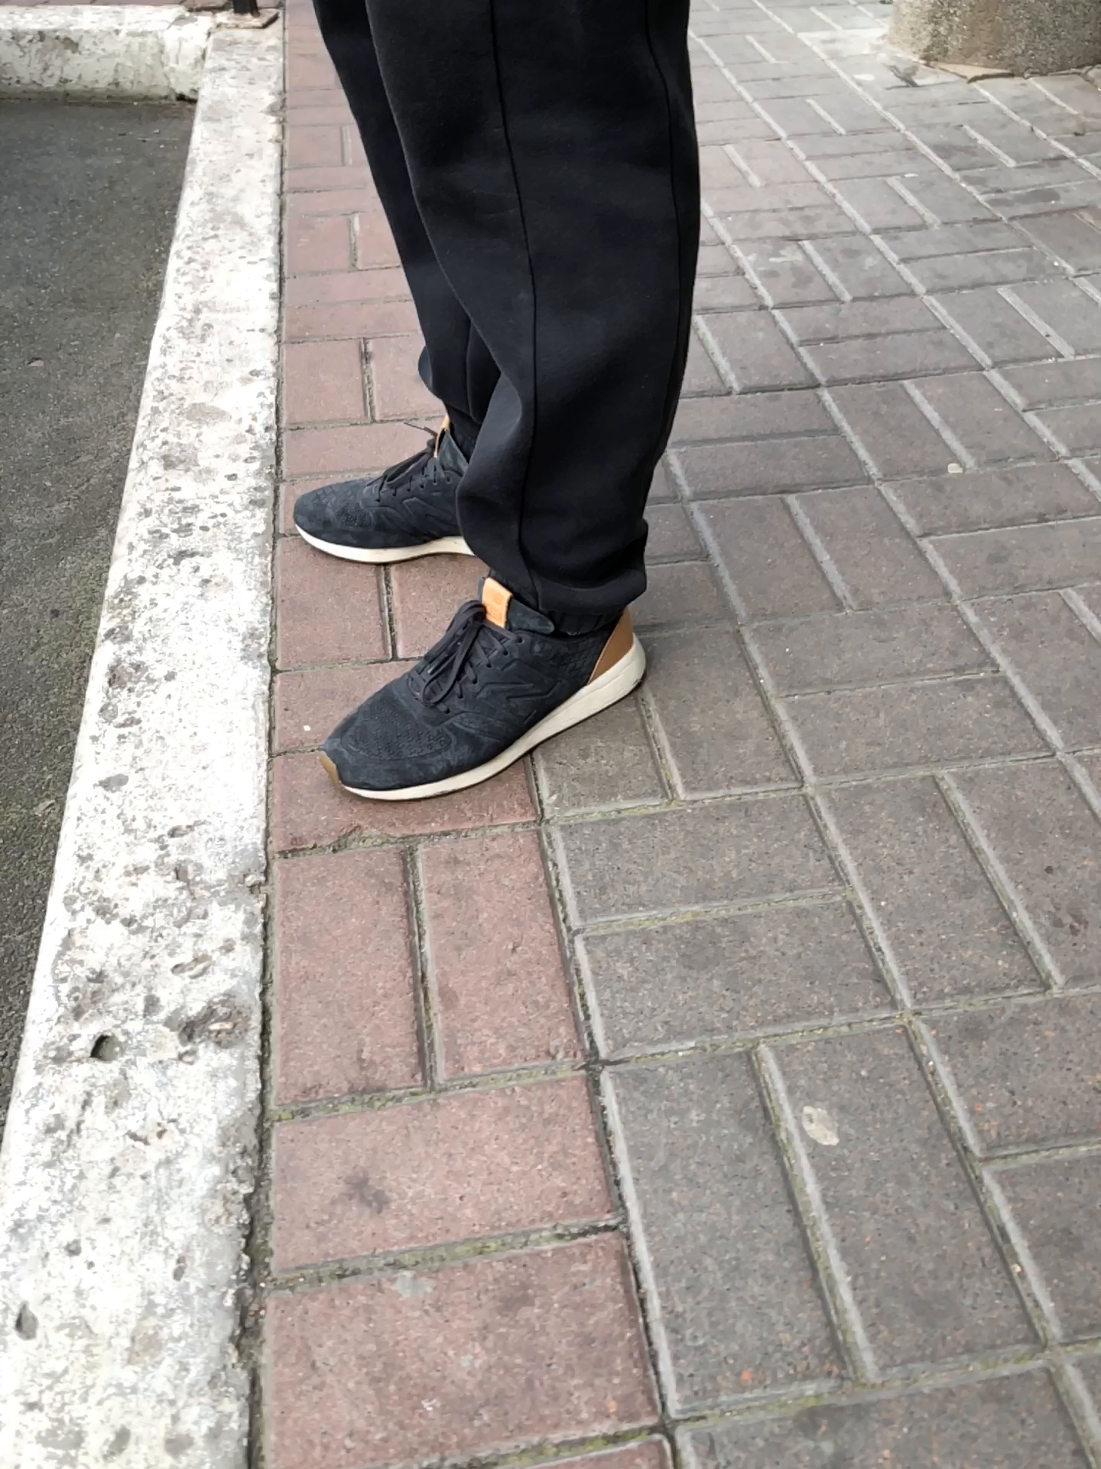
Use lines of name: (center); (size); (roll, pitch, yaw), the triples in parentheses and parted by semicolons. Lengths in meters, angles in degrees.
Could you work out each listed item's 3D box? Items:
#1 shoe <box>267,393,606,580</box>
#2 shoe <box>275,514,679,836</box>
shoe: (-0.095, -0.223, 1.082); (0.280, 0.109, 0.105); (4, 43, 3)
shoe: (-0.049, -0.052, 0.907); (0.281, 0.109, 0.105); (-26, 49, -26)
